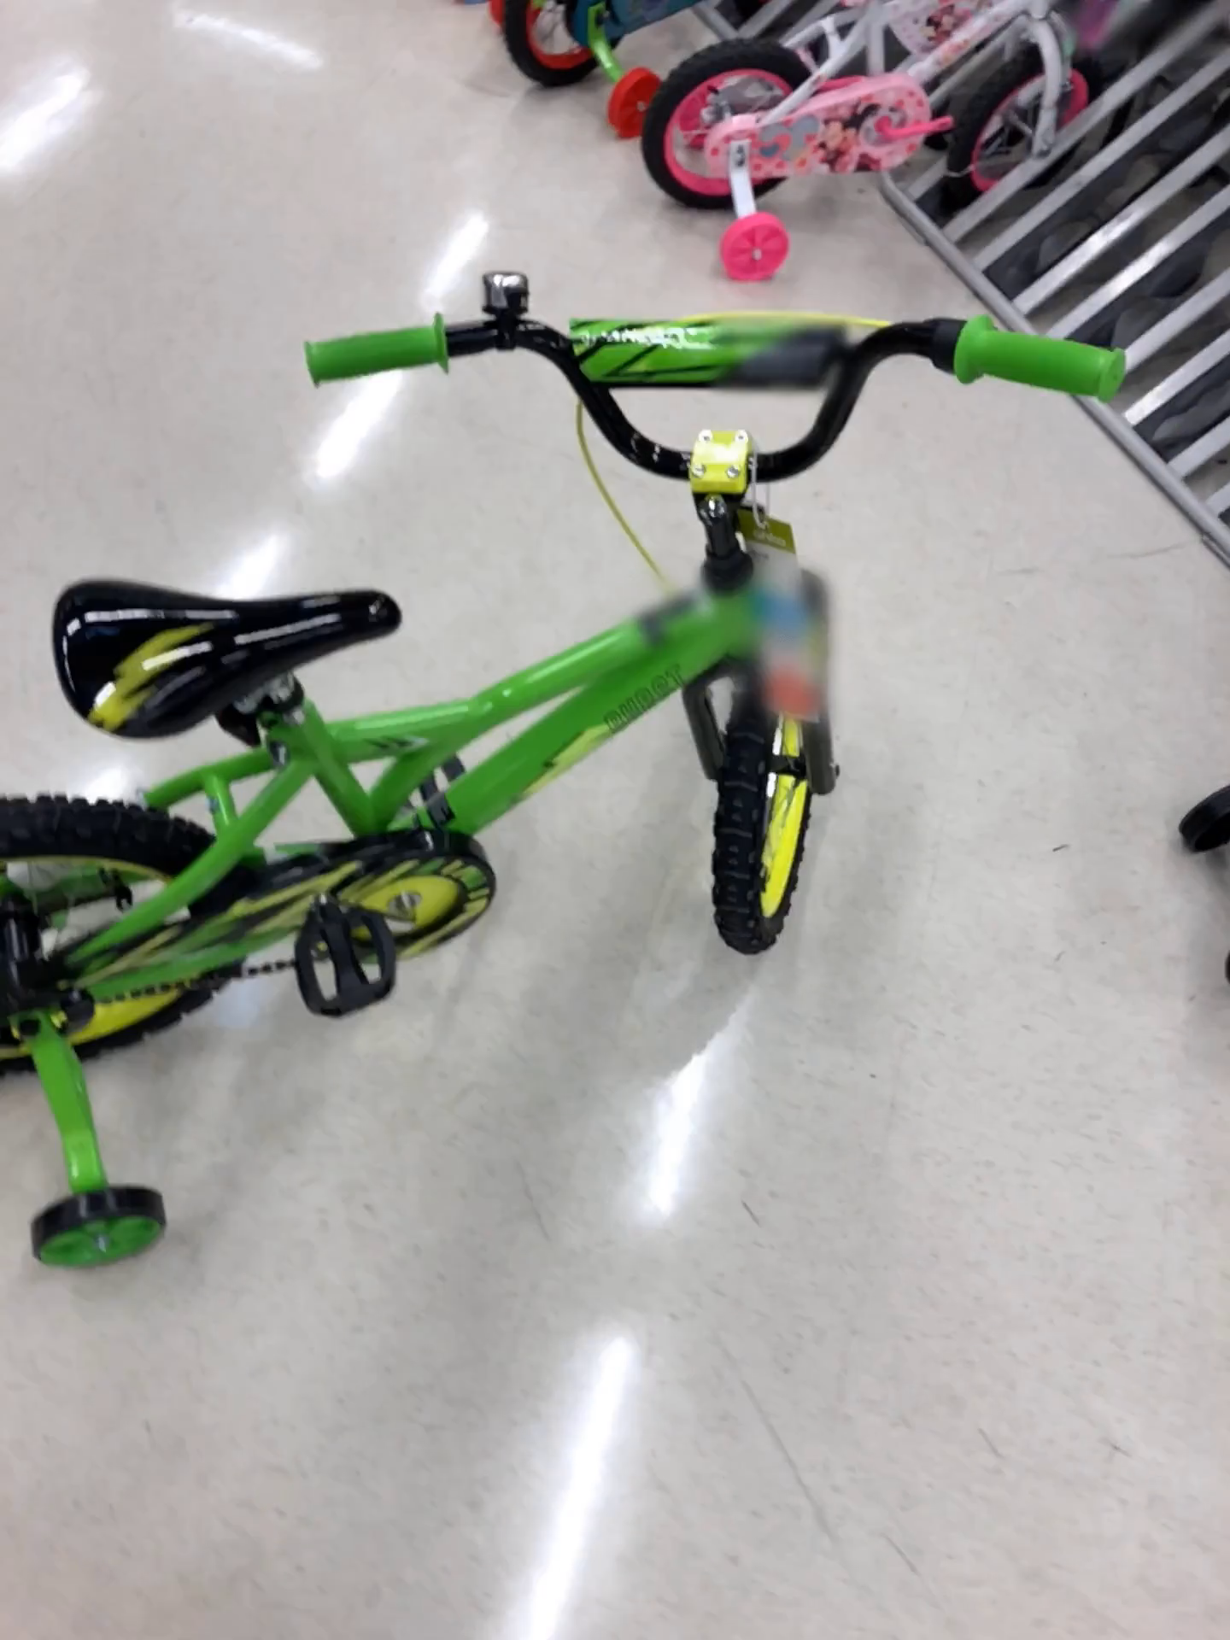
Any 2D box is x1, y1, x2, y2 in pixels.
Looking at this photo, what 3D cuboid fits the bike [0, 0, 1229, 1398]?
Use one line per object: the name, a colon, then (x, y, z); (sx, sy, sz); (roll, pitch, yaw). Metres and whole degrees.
bike: (-0.183, -0.196, 1.058); (1.045, 0.808, 0.553); (-24, 64, -18)
